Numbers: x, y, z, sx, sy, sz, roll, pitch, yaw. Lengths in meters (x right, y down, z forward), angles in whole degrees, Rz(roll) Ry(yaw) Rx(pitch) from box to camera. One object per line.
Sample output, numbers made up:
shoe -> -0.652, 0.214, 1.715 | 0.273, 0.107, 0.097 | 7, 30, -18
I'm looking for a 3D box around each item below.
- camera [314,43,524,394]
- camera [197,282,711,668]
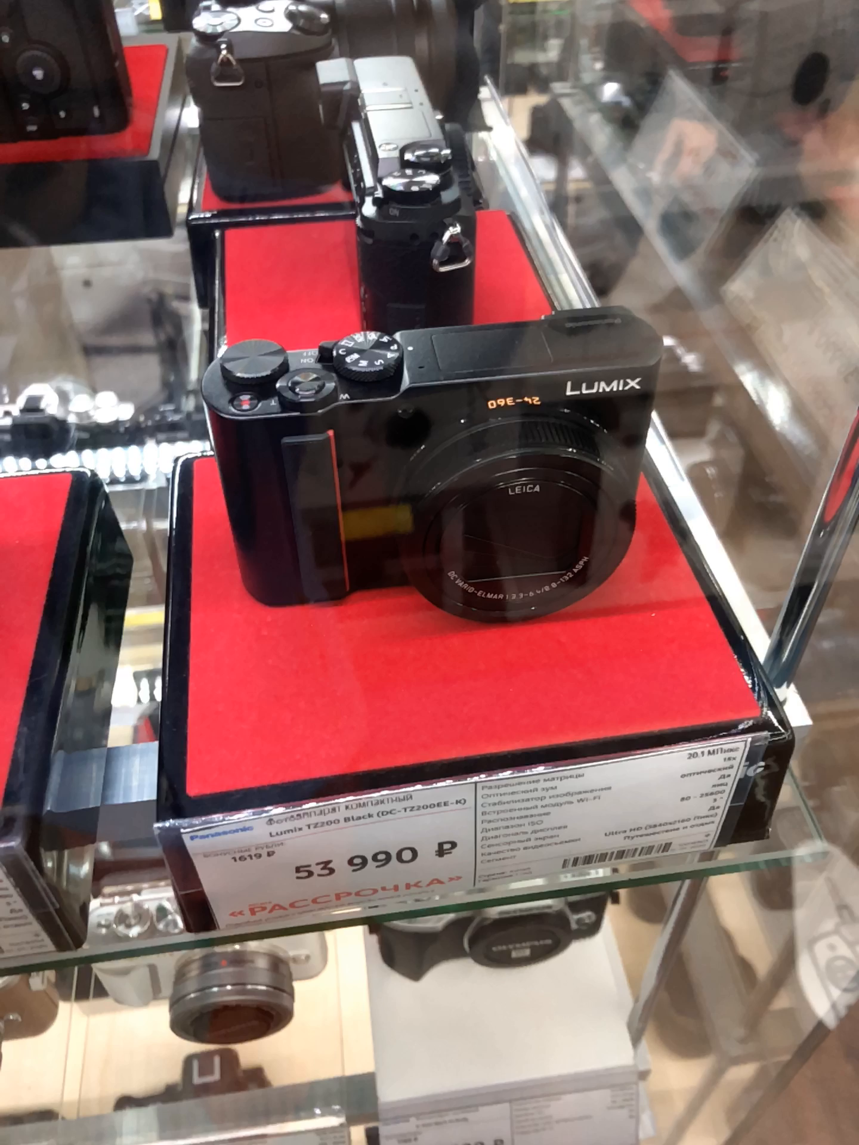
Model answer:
camera -> -0.007, -0.126, 0.335 | 0.054, 0.076, 0.102 | -7, 46, -6
camera -> 0.003, -0.025, 0.244 | 0.110, 0.070, 0.052 | -7, 46, -6
